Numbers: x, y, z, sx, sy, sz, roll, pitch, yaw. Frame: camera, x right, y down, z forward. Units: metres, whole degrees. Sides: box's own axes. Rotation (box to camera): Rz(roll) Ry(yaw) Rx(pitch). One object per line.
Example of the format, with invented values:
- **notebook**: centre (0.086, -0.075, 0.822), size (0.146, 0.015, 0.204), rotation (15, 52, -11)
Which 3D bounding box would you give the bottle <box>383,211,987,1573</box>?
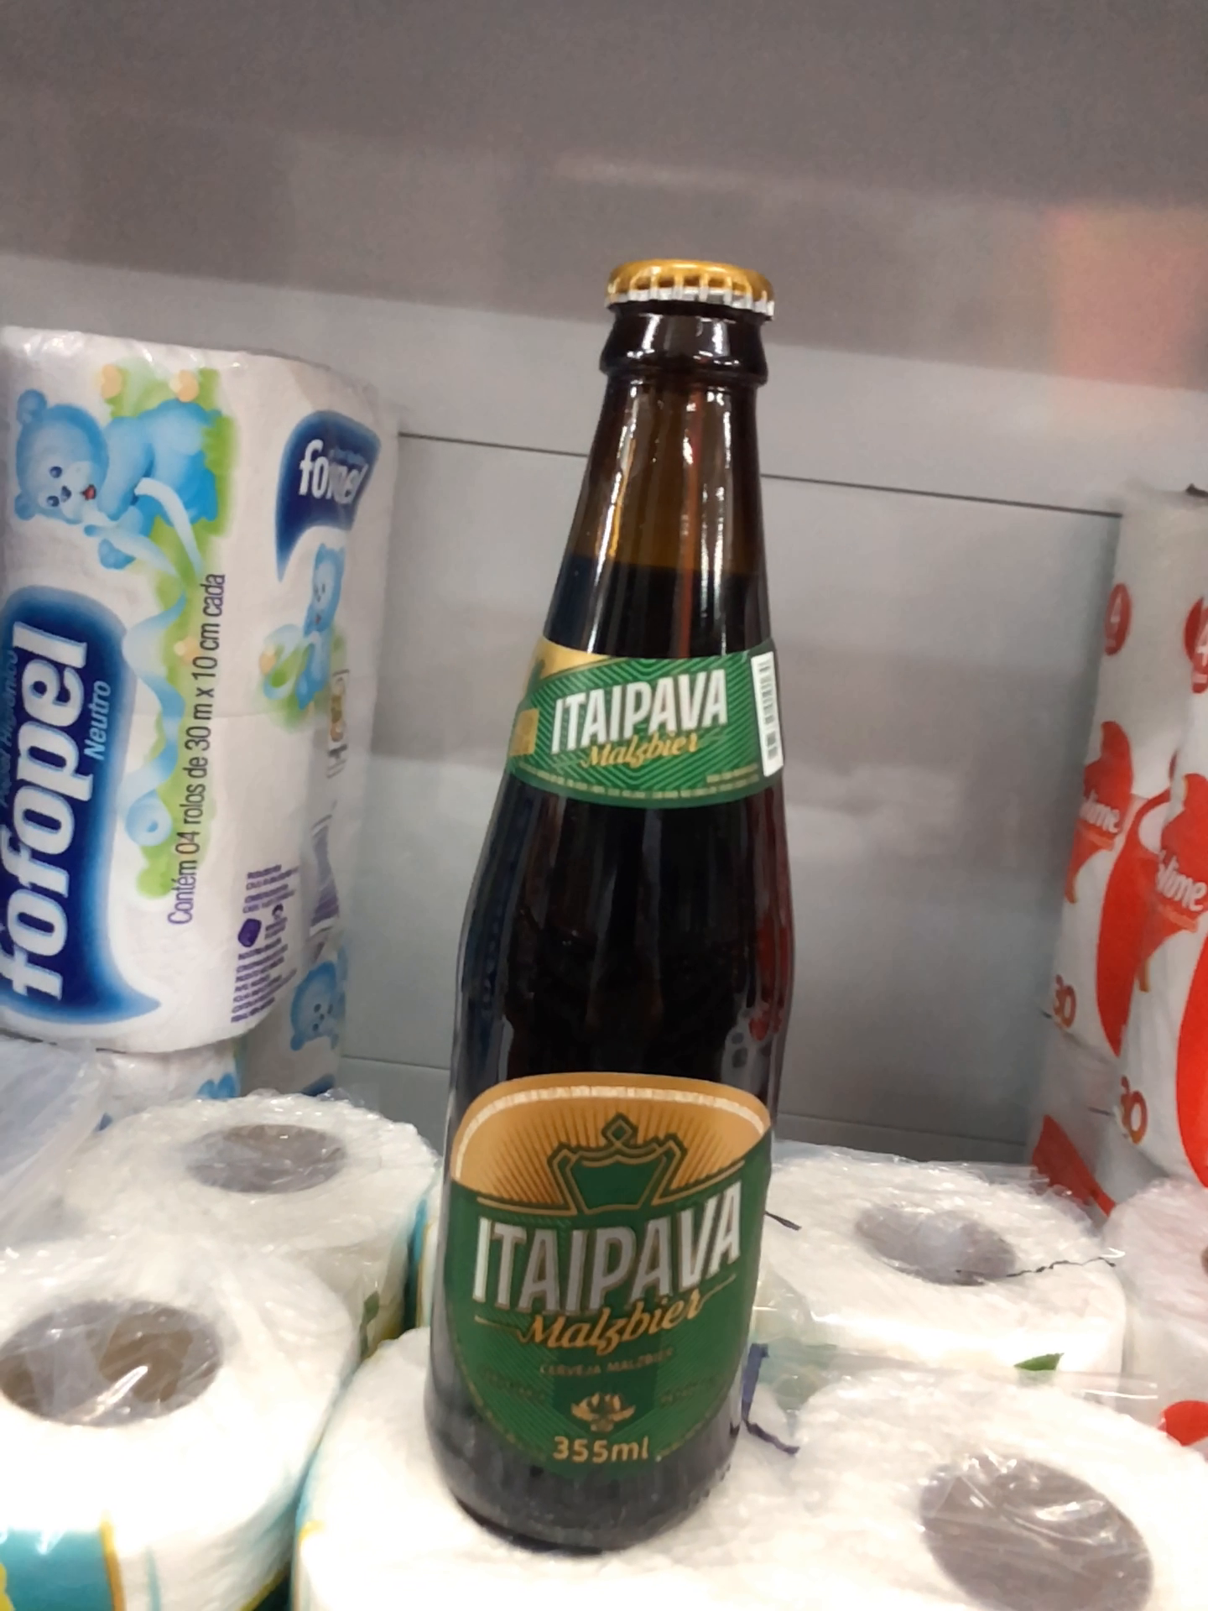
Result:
- **bottle**: centre (0.007, 0.020, 0.242), size (0.070, 0.219, 0.060), rotation (6, 12, -4)
